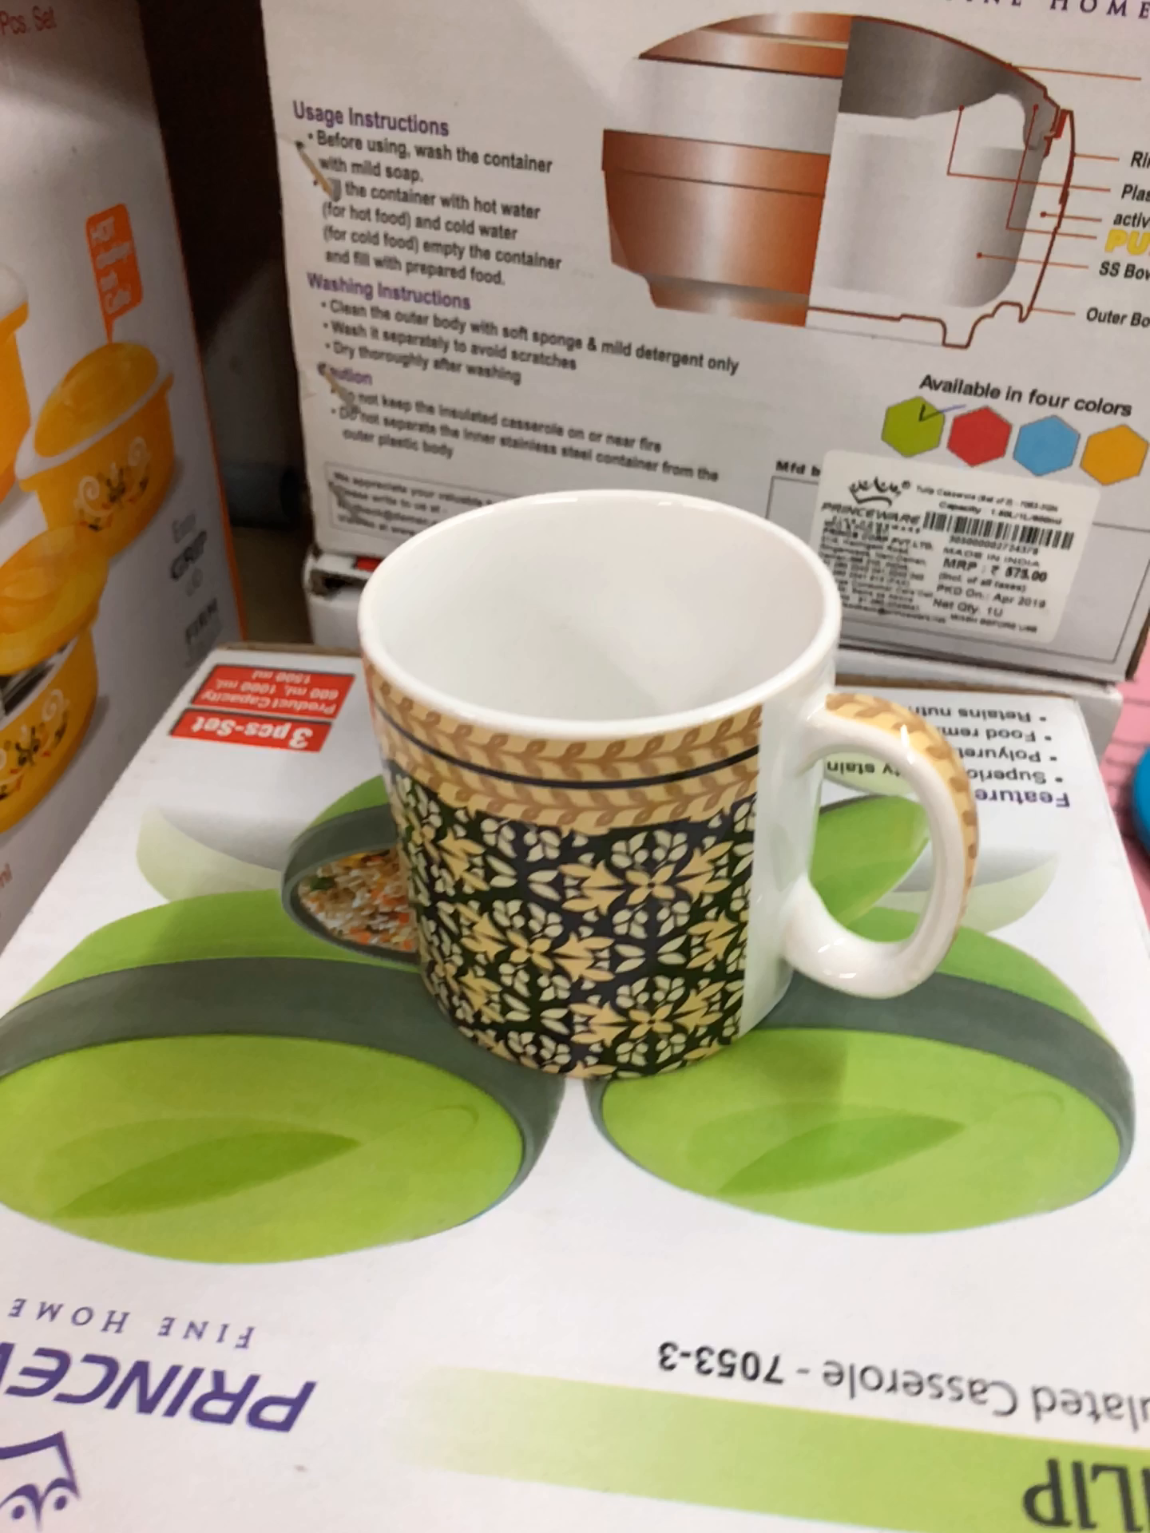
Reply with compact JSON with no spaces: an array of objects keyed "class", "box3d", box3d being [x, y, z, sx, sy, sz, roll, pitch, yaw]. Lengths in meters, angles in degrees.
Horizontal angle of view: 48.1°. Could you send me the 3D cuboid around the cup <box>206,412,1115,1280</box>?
[{"class":"cup","box3d":[0.014,0.006,0.210,0.110,0.089,0.070,17,39,24]}]
